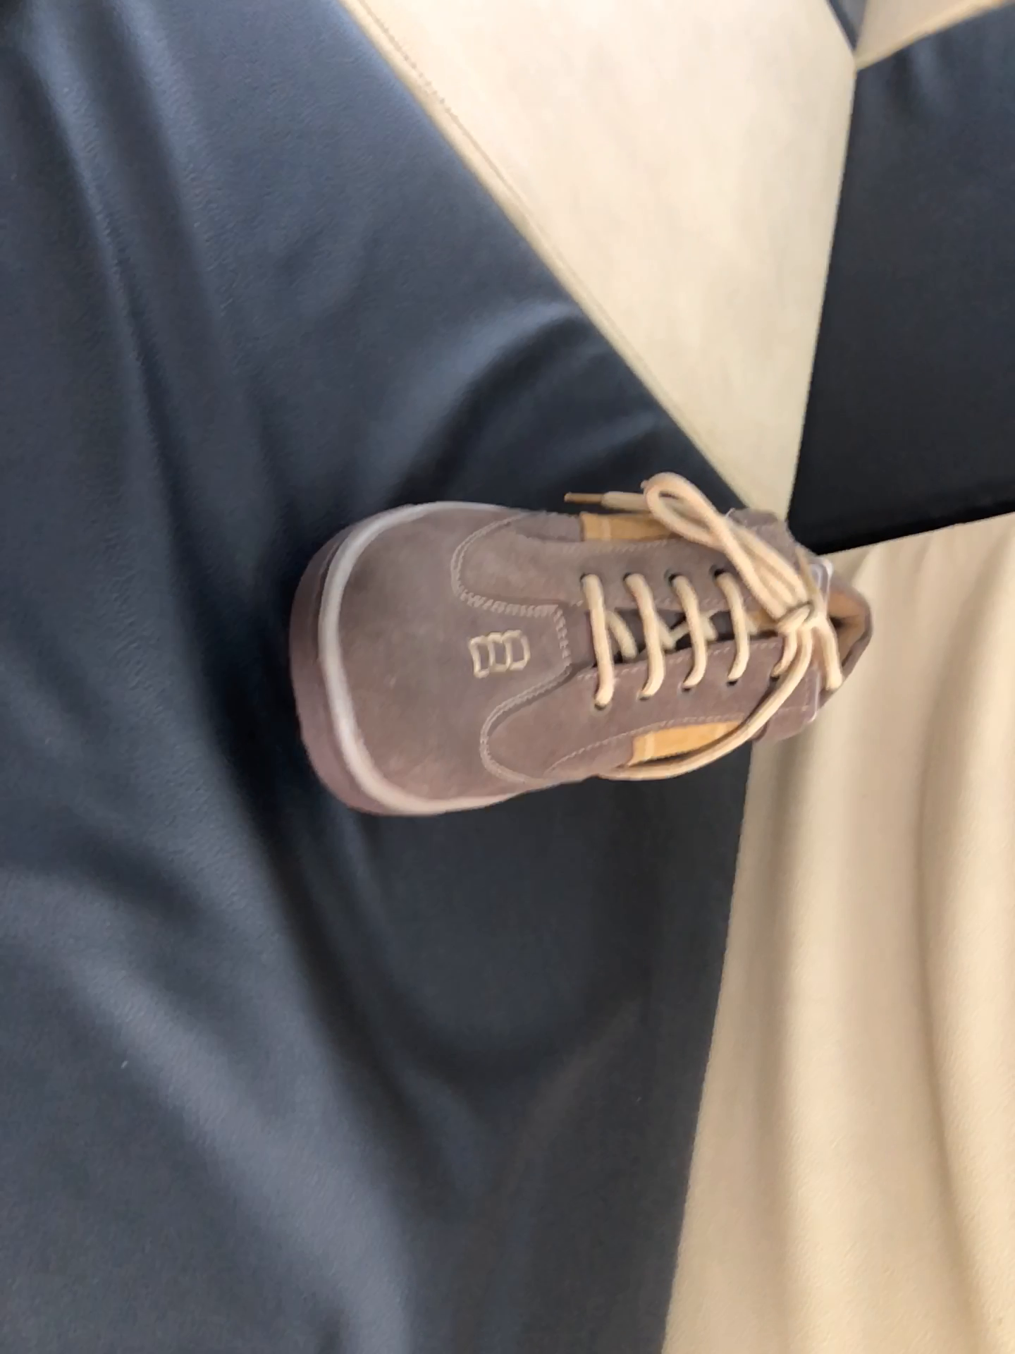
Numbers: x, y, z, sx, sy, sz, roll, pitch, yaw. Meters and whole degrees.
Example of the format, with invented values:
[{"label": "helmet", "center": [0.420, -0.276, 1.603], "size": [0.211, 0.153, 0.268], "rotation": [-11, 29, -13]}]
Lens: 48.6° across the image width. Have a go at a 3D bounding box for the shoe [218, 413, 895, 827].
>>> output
[{"label": "shoe", "center": [0.043, -0.013, 0.418], "size": [0.292, 0.079, 0.100], "rotation": [-1, 83, -50]}]
